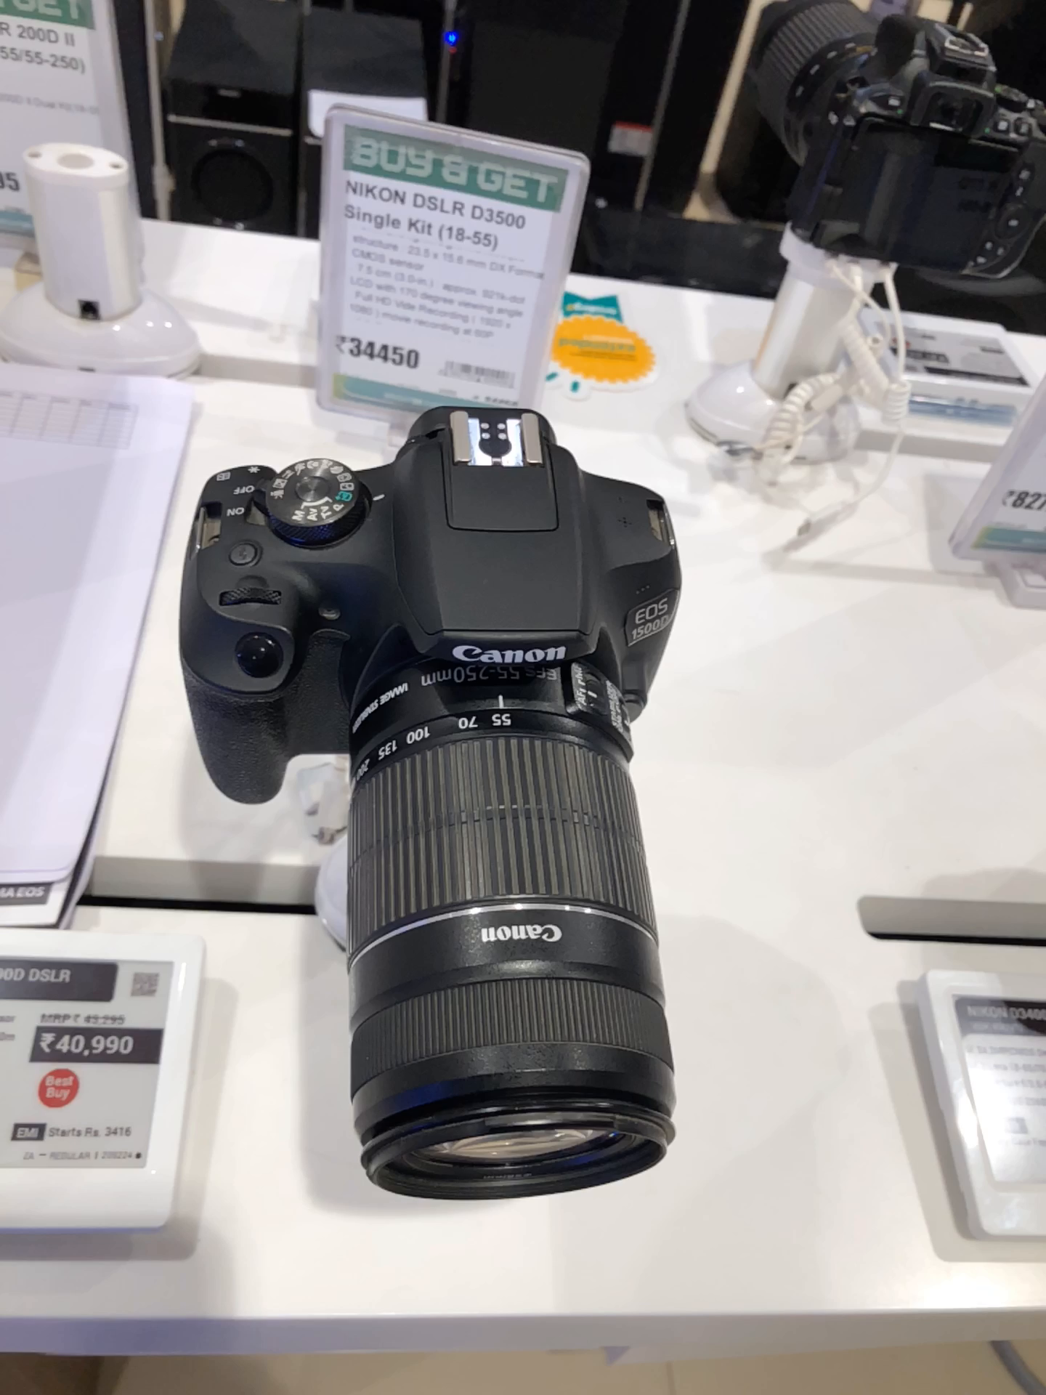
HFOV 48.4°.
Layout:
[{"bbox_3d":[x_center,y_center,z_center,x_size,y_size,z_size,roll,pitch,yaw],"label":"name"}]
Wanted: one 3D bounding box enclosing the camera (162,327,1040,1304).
[{"bbox_3d":[-0.004,0.013,0.274,0.140,0.089,0.201,-1,51,-12],"label":"camera"}]
